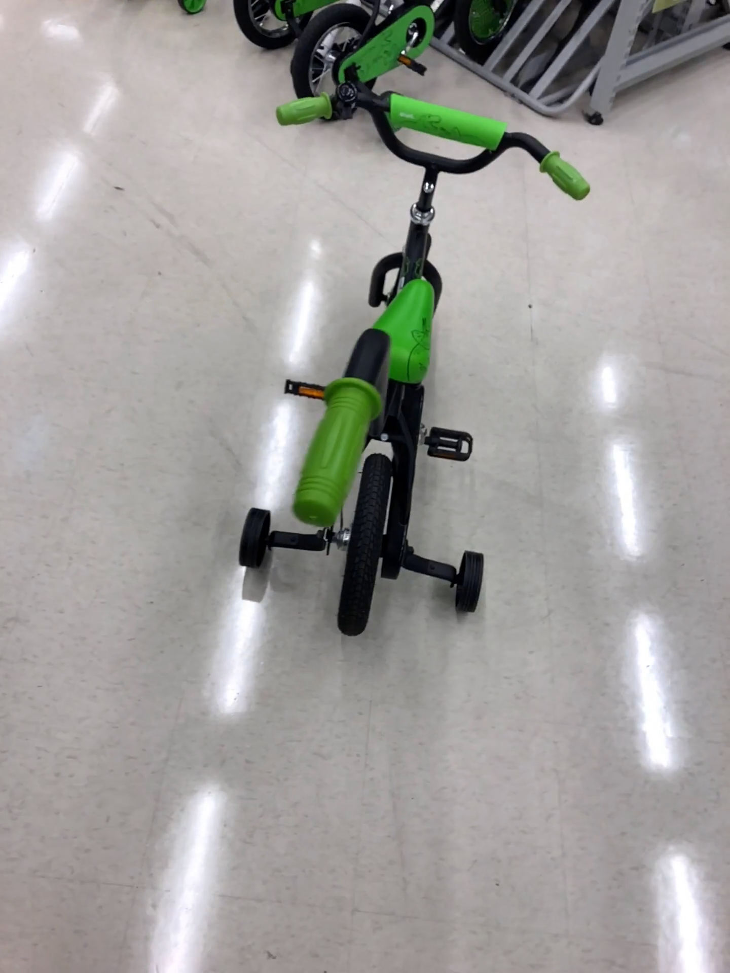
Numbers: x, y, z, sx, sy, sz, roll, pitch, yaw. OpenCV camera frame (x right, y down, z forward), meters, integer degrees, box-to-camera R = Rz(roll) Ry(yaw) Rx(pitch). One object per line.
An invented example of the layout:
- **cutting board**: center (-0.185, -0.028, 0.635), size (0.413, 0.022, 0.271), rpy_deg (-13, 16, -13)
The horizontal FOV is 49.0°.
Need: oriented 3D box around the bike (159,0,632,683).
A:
- **bike**: center (0.070, -0.261, 1.284), size (0.491, 0.600, 0.850), rpy_deg (9, 56, 2)
